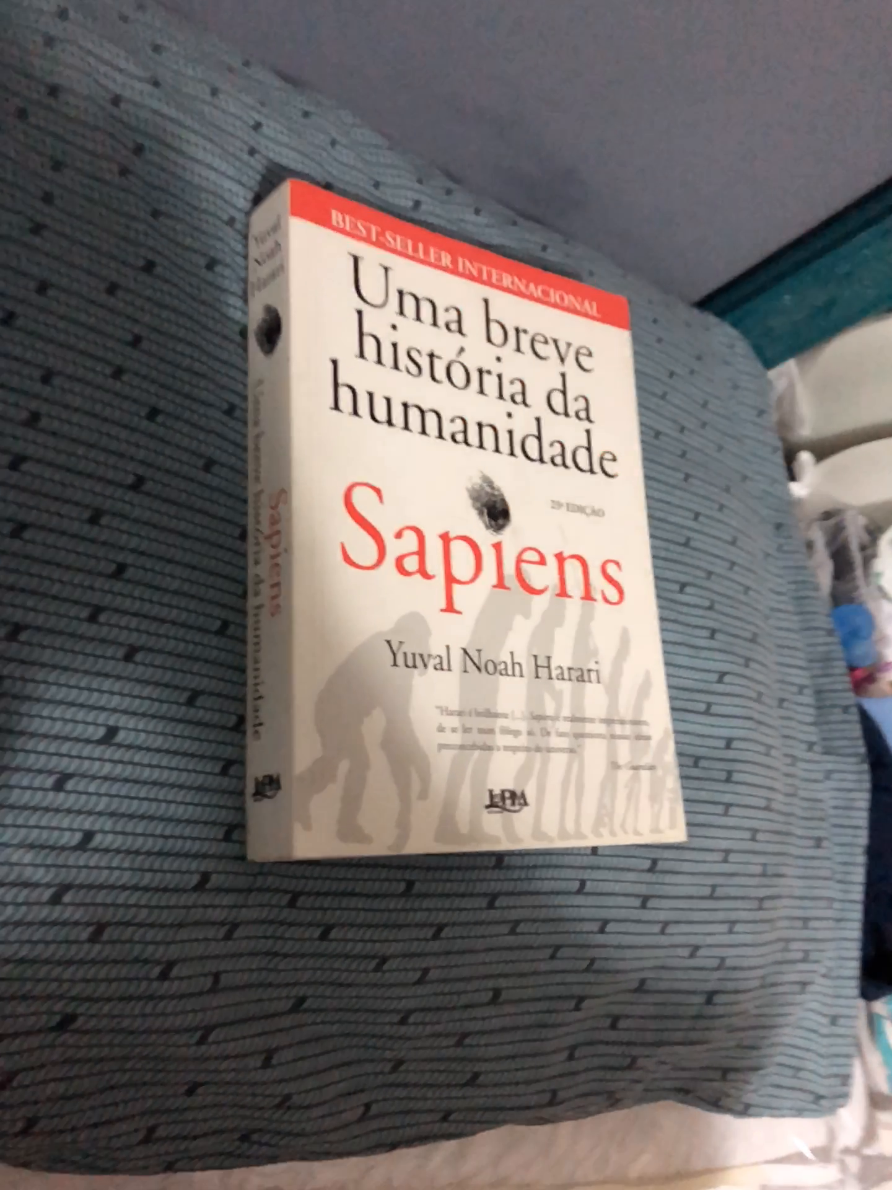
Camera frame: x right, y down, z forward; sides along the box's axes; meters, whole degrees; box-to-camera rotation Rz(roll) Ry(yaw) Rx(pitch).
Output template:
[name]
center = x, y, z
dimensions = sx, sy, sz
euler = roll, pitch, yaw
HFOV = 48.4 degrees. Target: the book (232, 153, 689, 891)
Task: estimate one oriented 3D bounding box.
[book]
center = 0.005, -0.021, 0.366
dimensions = 0.161, 0.040, 0.240
euler = 8, 71, -35
